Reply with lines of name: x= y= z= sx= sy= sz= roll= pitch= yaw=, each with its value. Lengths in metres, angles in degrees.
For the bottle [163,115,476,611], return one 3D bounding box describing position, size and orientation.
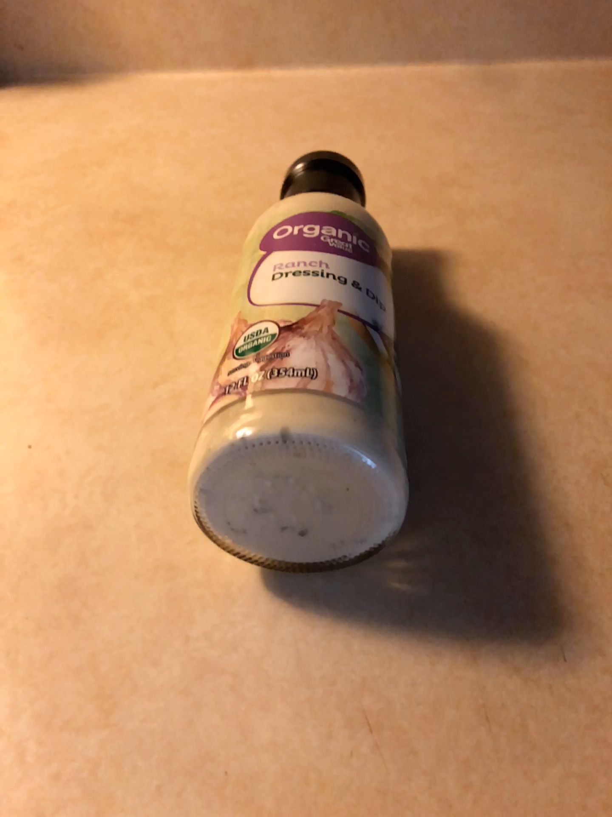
bottle: x=0.004 y=-0.043 z=0.261 sx=0.070 sy=0.060 sz=0.230 roll=7 pitch=38 yaw=-3
